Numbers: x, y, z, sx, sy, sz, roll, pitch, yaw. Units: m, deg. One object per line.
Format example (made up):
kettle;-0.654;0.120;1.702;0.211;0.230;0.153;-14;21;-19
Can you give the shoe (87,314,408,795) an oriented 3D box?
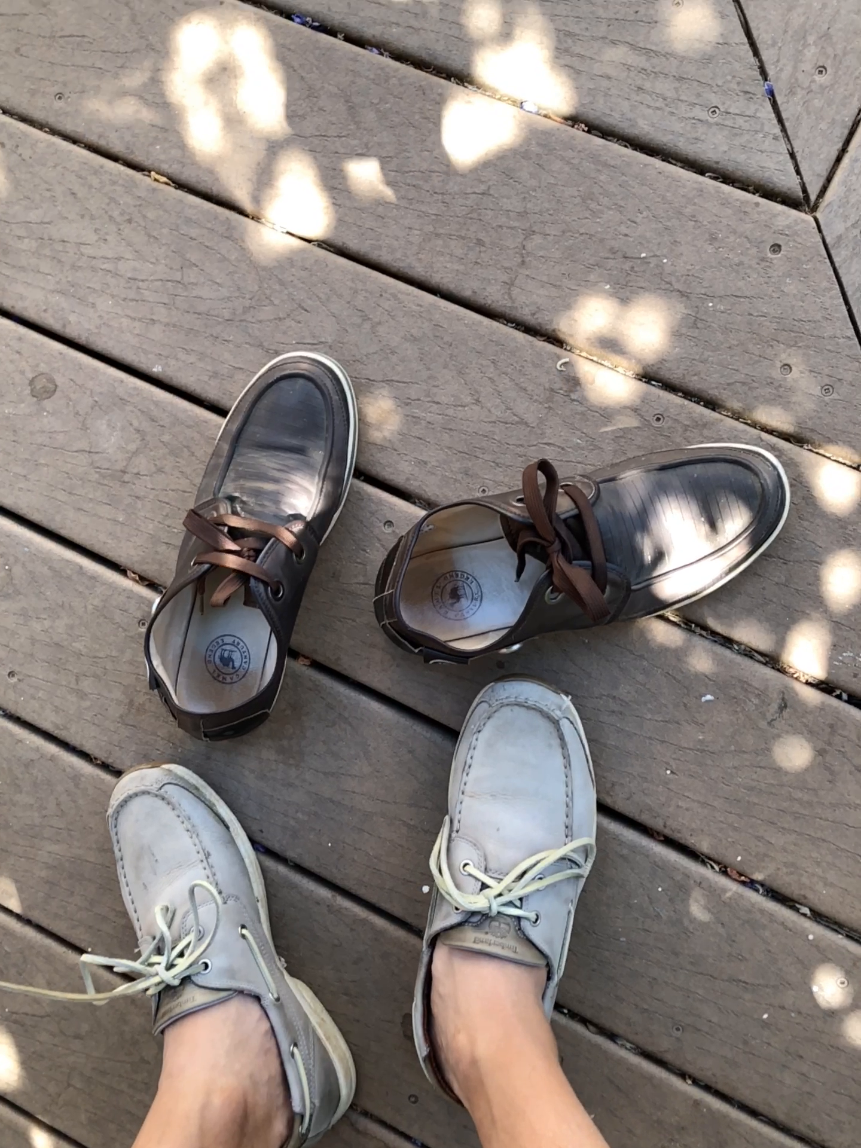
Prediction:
shoe;-0.119;-0.012;0.621;0.109;0.069;0.279;21;97;8

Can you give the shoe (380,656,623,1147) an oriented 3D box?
shoe;0.048;0.210;0.603;0.109;0.101;0.293;7;94;9

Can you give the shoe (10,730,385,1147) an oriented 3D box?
shoe;-0.151;0.268;0.635;0.109;0.086;0.292;-26;88;9

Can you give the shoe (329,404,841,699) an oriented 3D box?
shoe;0.090;-0.011;0.591;0.277;0.079;0.109;-14;90;10
